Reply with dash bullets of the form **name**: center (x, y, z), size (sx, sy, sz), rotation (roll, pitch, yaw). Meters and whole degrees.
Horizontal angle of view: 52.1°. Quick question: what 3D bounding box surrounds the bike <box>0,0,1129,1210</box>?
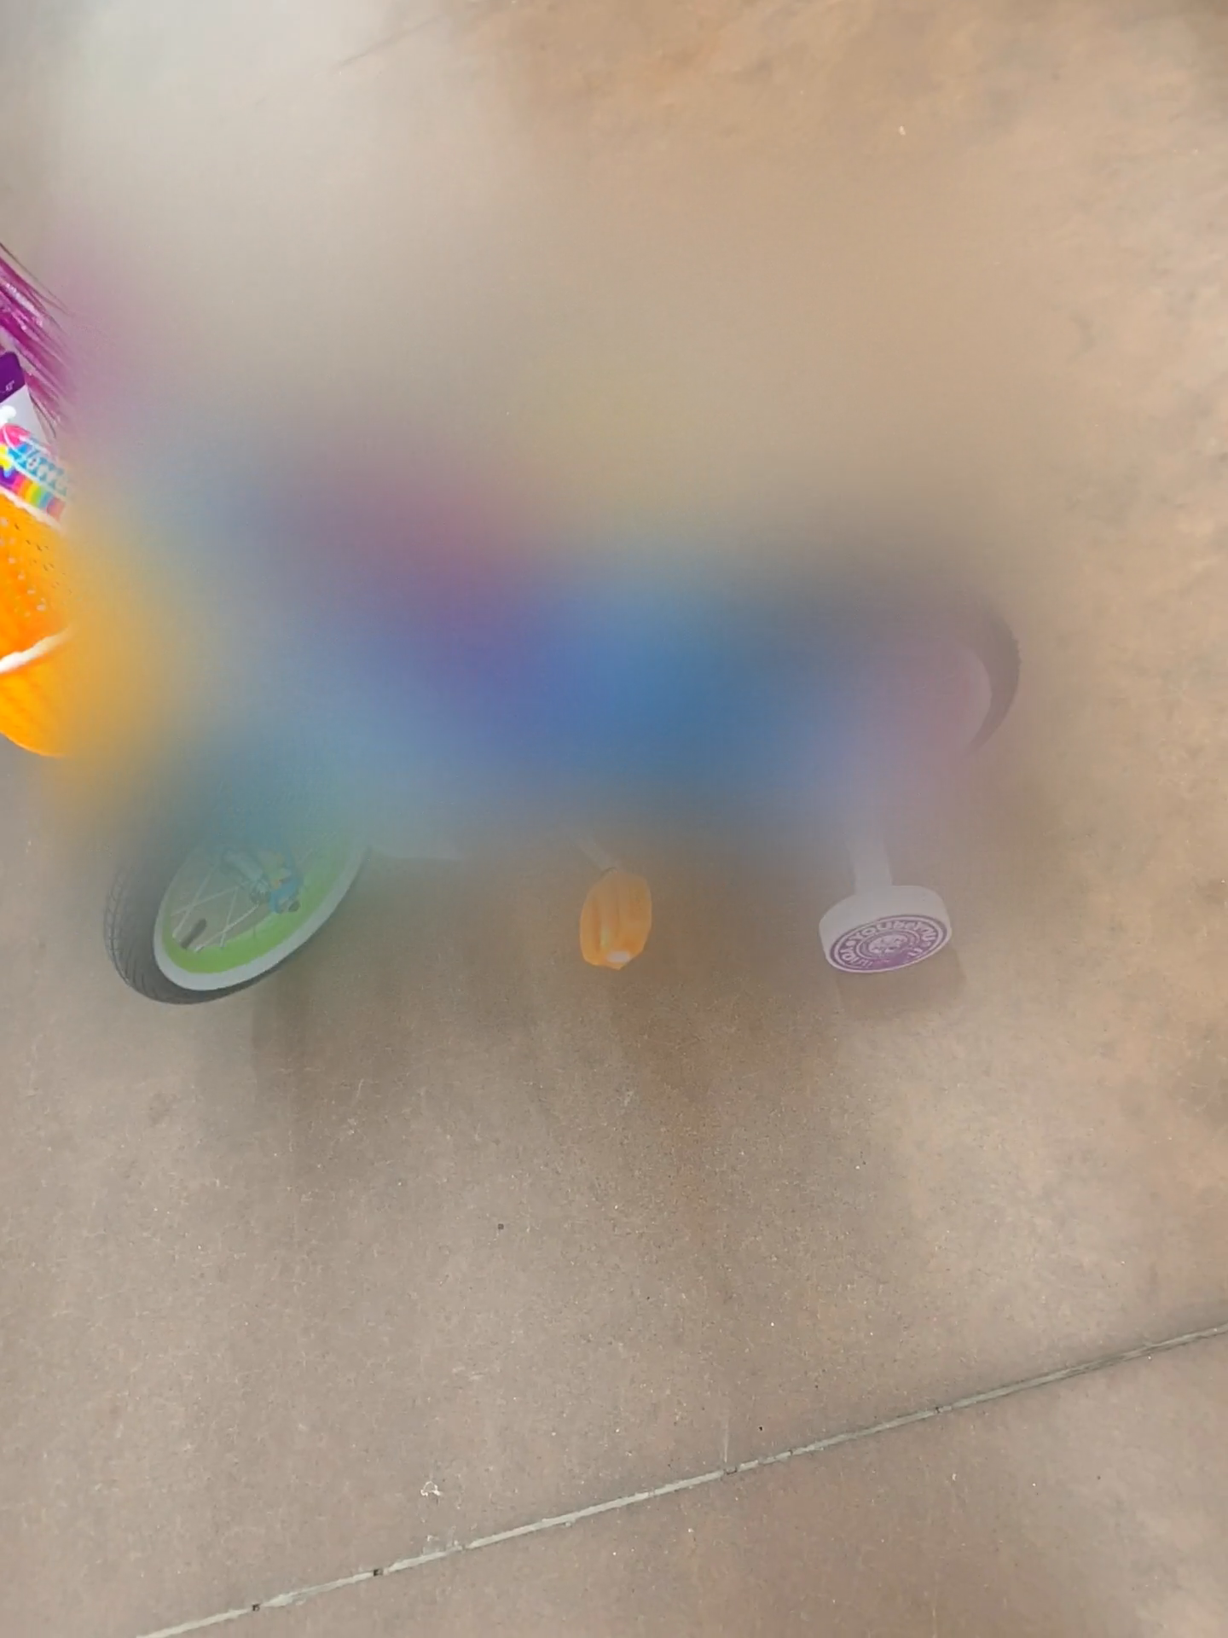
- **bike**: center (-0.143, -0.173, 0.976), size (0.816, 0.664, 0.554), rotation (-21, 53, 5)
